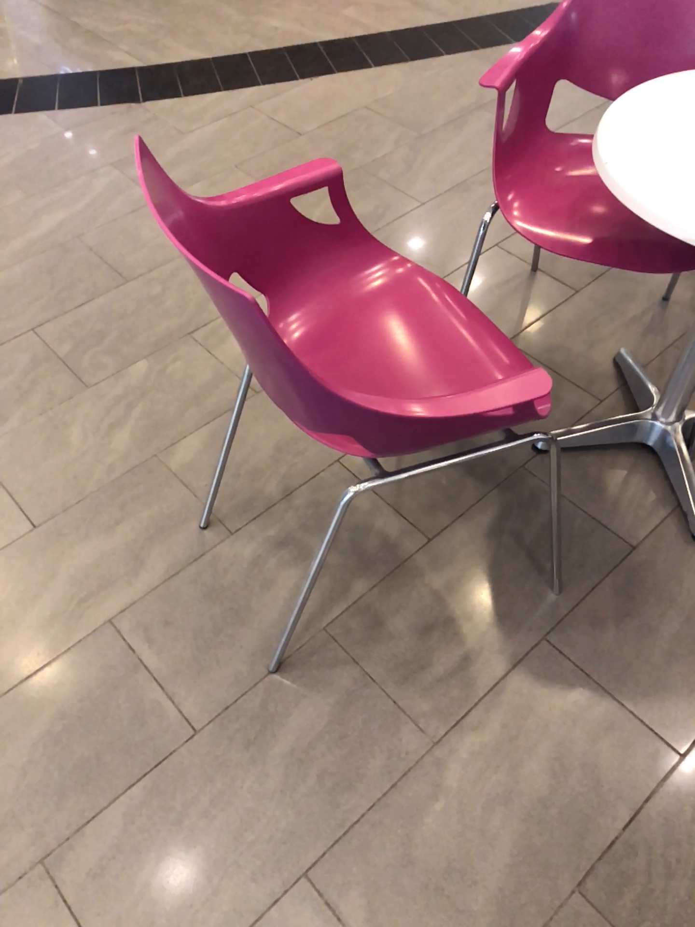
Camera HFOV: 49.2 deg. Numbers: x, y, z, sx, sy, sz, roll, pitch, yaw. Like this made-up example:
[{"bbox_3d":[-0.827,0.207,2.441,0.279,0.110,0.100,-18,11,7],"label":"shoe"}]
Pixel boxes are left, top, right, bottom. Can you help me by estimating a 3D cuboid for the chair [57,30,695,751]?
[{"bbox_3d":[0.048,-0.105,1.272,0.671,0.837,0.622,-21,51,-15],"label":"chair"}]
